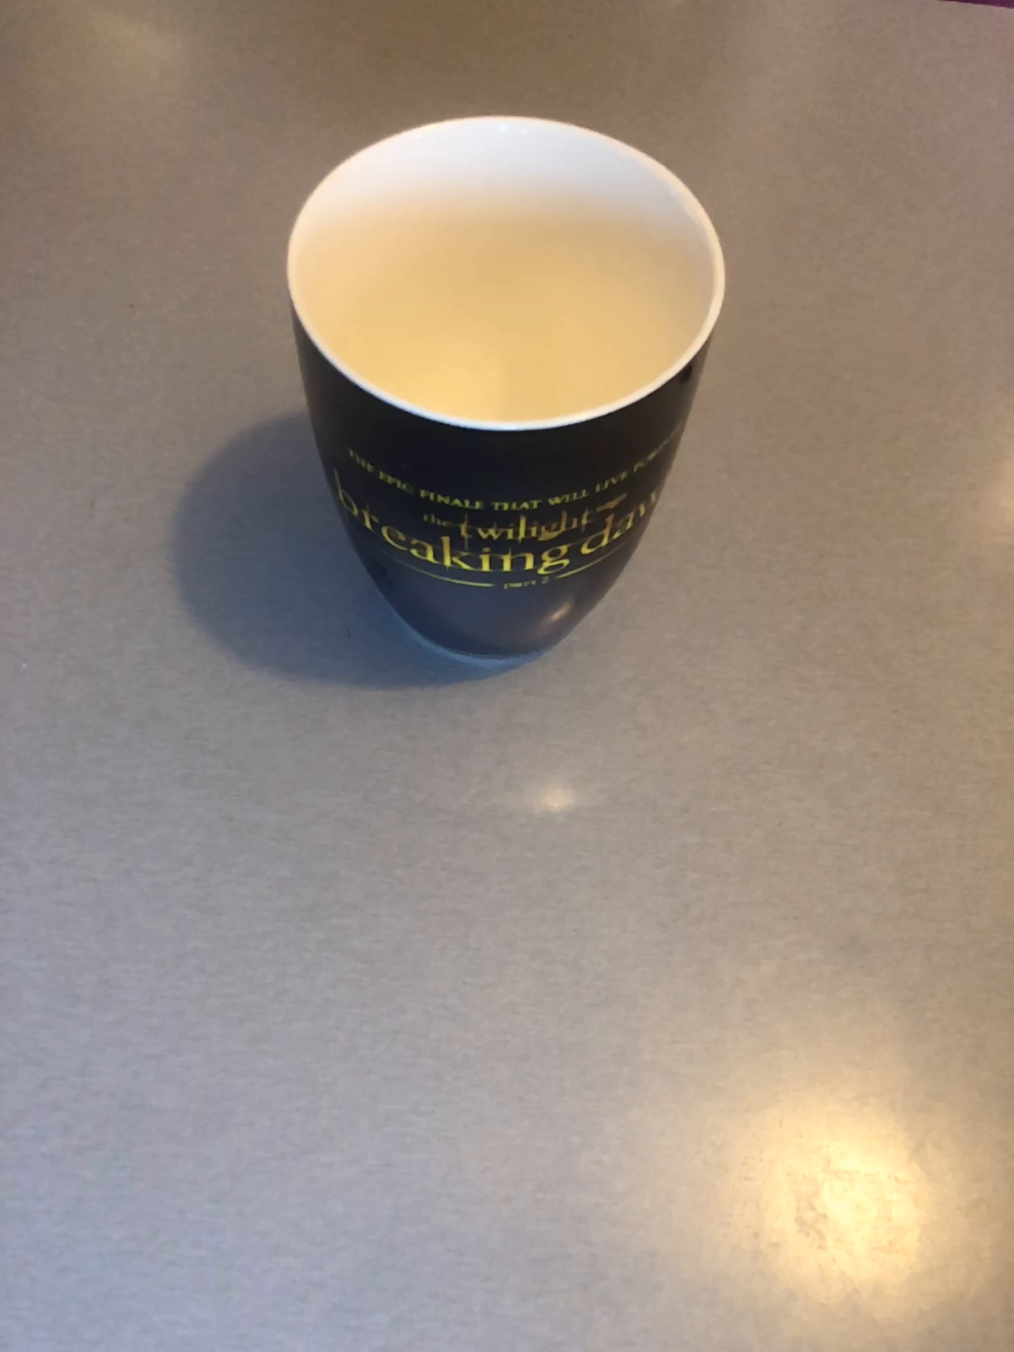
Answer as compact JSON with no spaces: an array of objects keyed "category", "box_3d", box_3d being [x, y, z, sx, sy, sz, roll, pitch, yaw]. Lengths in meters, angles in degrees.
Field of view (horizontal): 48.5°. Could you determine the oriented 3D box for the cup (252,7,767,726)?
[{"category":"cup","box_3d":[-0.007,-0.072,0.273,0.090,0.100,0.130,-5,62,-5]}]
